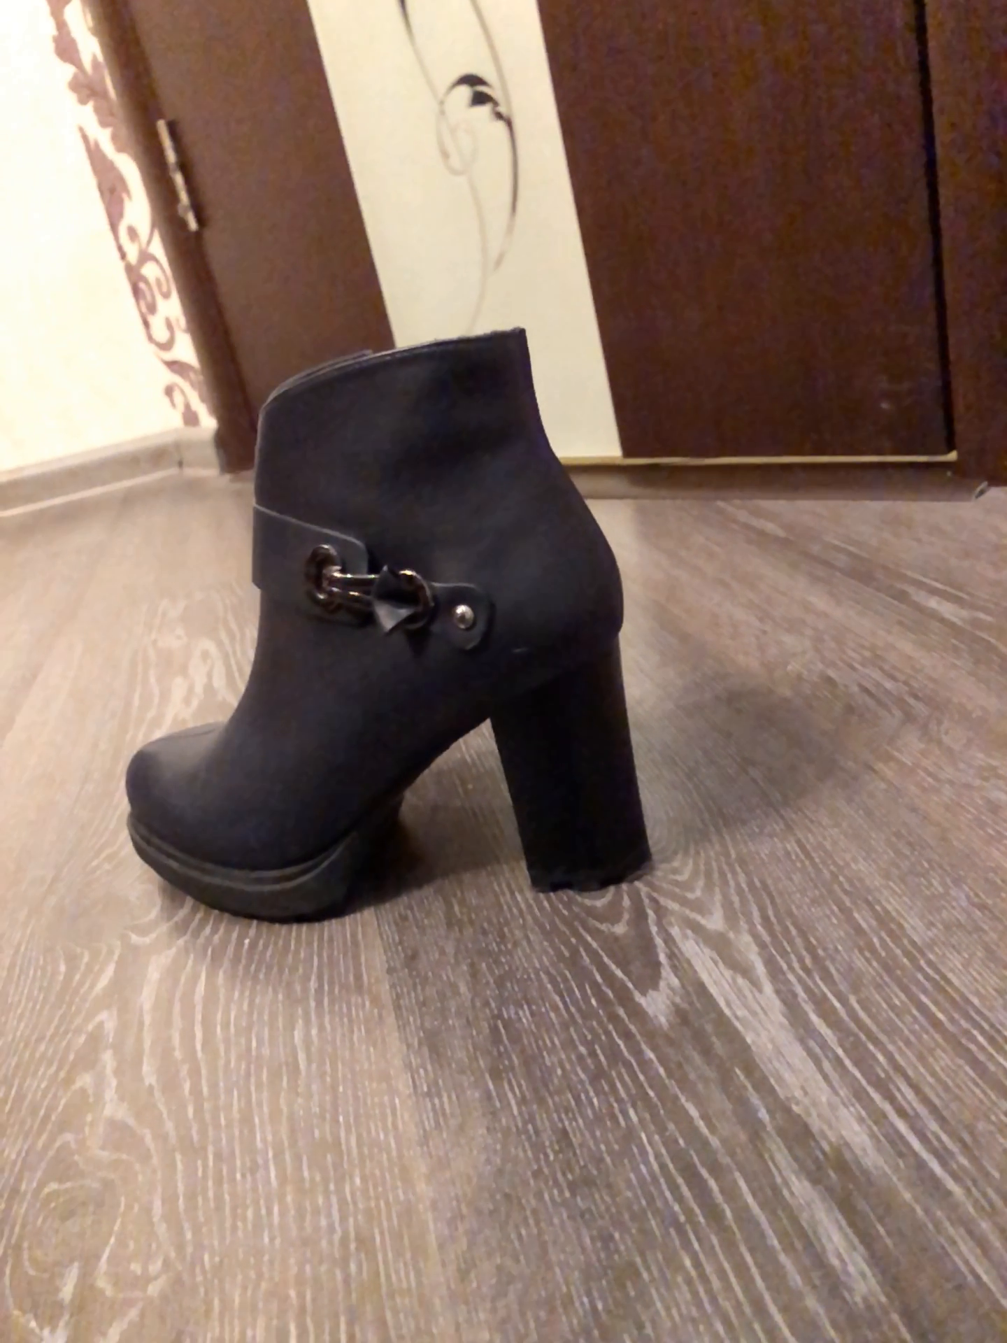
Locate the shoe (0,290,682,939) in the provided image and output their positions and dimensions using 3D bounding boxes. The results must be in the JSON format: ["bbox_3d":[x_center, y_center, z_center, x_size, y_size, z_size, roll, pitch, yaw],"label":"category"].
[{"bbox_3d":[-0.071,-0.015,0.415,0.230,0.189,0.111,-4,23,22],"label":"shoe"}]
